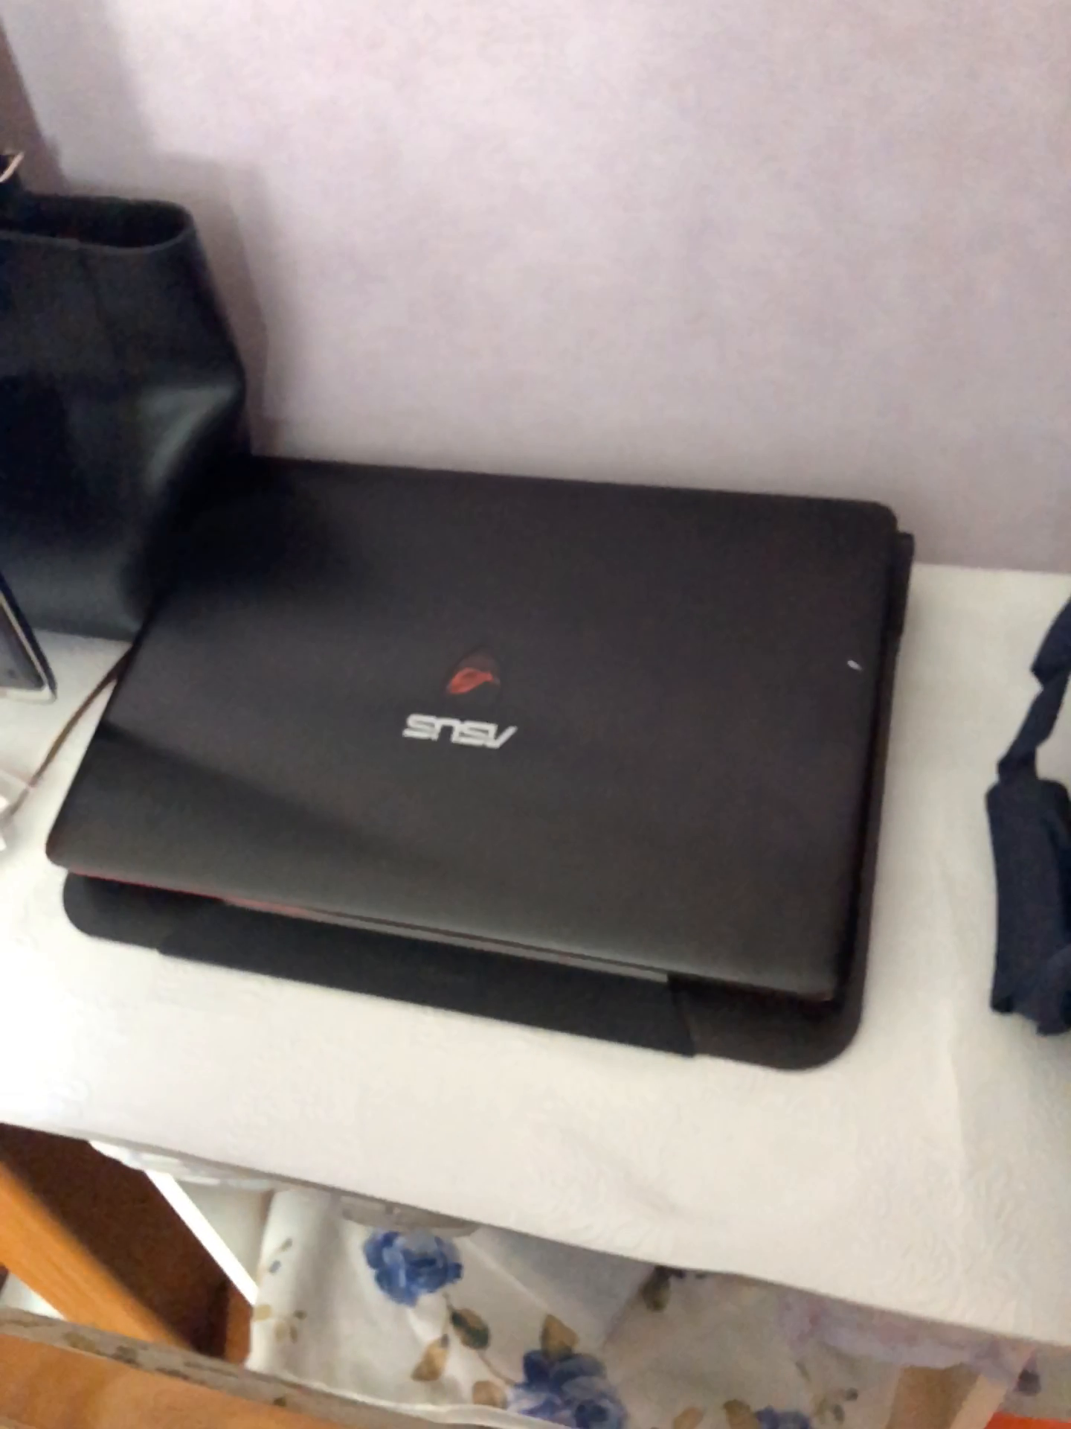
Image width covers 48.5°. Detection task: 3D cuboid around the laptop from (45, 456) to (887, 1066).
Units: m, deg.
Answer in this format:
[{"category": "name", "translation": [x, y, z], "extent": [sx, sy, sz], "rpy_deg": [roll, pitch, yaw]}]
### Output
[{"category": "laptop", "translation": [-0.027, 0.000, 0.631], "extent": [0.394, 0.060, 0.267], "rpy_deg": [6, 59, 15]}]
